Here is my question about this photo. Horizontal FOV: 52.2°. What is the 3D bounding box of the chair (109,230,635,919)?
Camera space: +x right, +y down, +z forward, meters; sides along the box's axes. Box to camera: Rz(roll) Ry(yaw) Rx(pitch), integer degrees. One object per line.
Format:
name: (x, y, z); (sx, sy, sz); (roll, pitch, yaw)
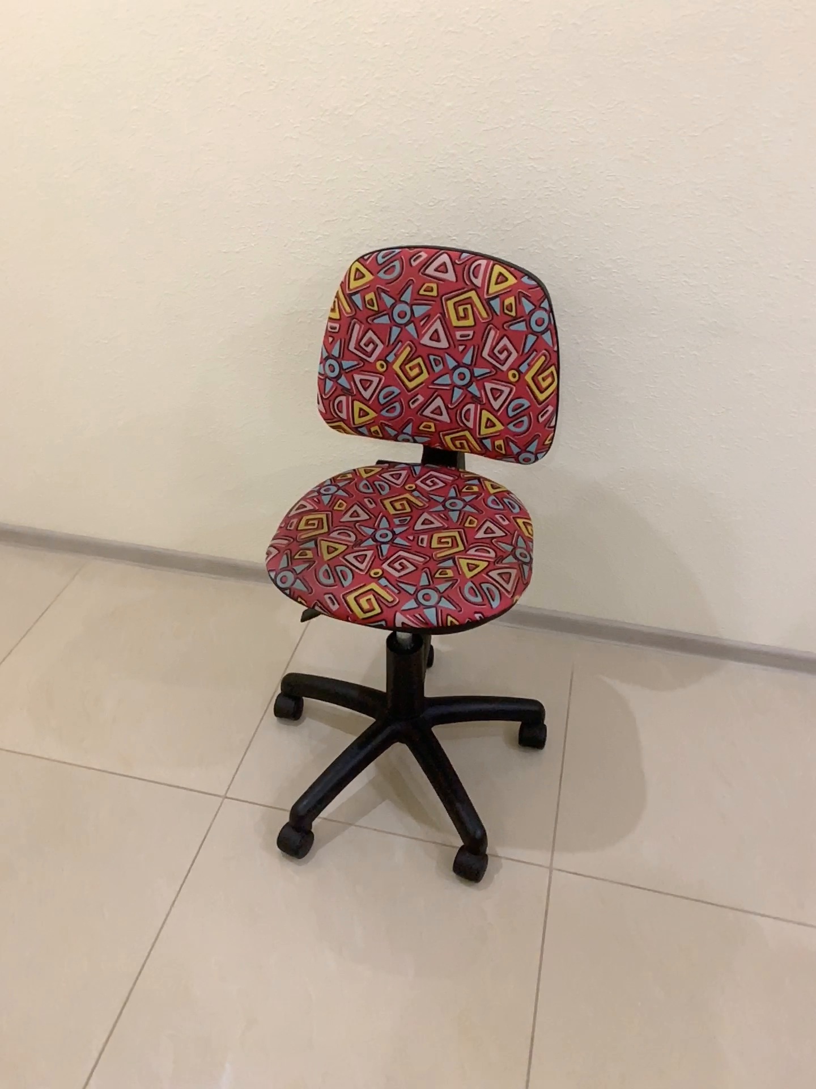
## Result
chair: (0.001, 0.054, 1.335); (0.550, 0.885, 0.543); (8, 39, 10)
